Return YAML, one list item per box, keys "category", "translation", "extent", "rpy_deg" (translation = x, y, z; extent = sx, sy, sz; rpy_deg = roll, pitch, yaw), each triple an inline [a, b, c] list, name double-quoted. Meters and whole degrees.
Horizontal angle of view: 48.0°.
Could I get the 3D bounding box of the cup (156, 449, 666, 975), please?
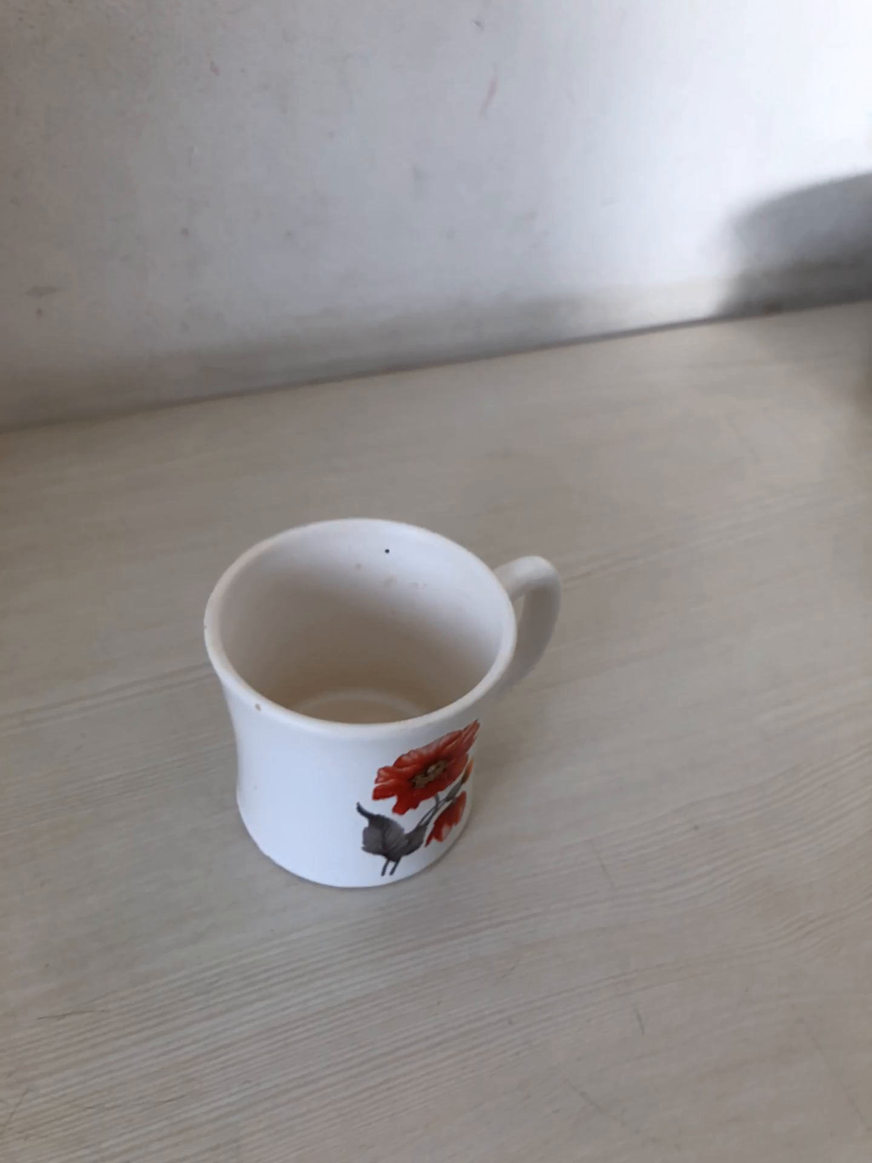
- category: "cup"
  translation: [-0.007, 0.027, 0.241]
  extent: [0.090, 0.070, 0.070]
  rpy_deg: [-26, 49, -31]
